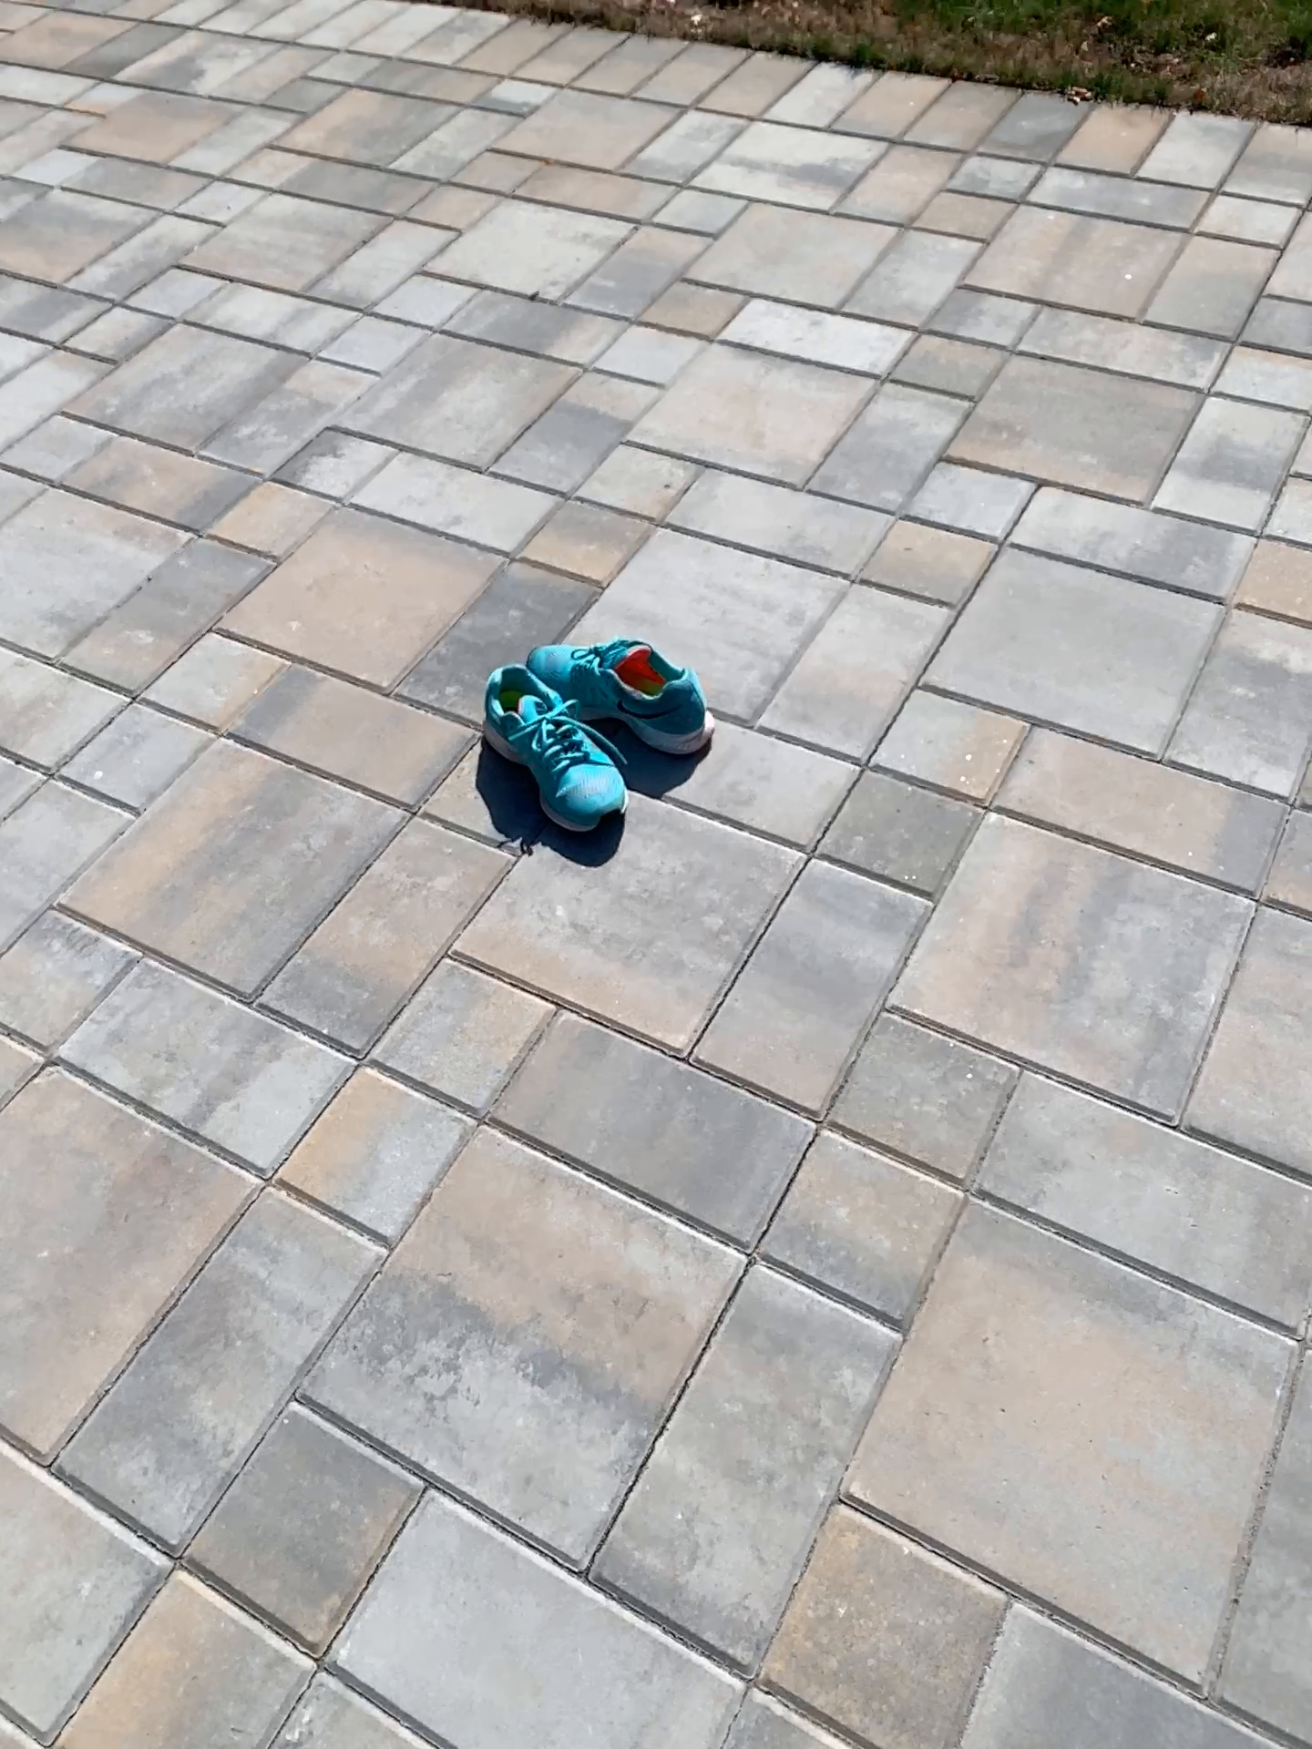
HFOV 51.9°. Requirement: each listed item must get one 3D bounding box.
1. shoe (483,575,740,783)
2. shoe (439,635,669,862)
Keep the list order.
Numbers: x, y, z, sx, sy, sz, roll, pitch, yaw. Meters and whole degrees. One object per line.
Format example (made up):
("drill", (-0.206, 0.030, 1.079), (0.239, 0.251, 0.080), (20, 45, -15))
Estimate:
("shoe", (-0.051, -0.235, 1.592), (0.271, 0.100, 0.130), (26, 58, 23))
("shoe", (-0.122, -0.154, 1.586), (0.130, 0.100, 0.271), (-32, 50, -19))
